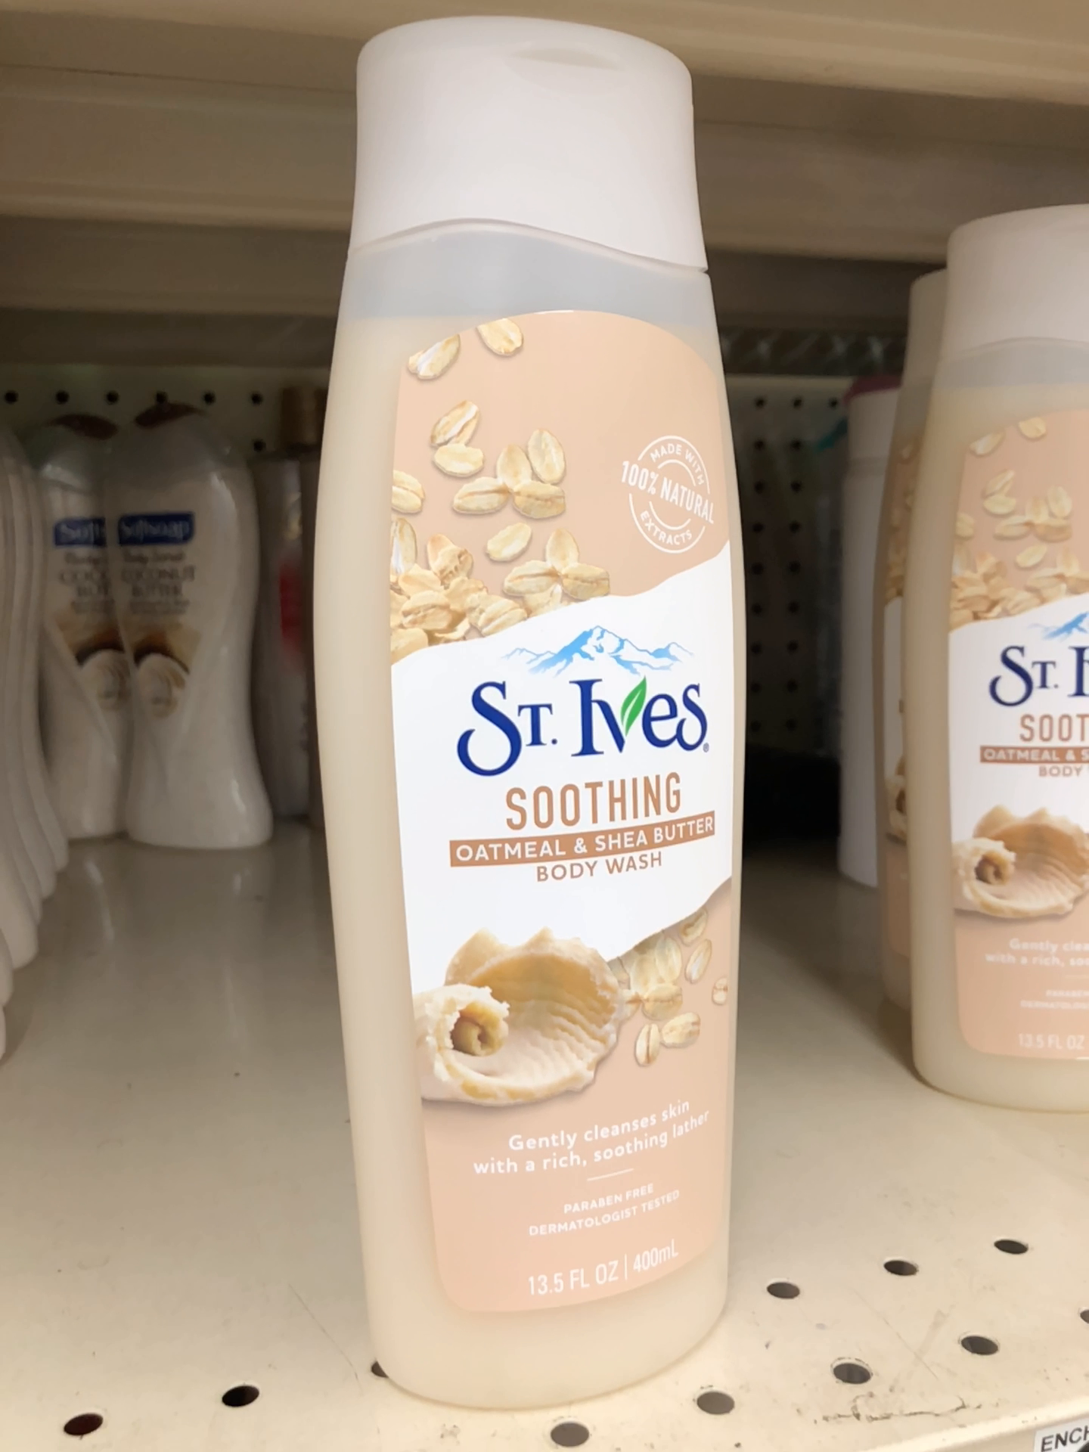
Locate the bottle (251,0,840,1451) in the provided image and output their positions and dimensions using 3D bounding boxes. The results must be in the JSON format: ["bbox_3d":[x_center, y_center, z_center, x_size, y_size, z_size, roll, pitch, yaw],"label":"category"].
[{"bbox_3d":[-0.001,-0.004,0.212,0.080,0.230,0.050,-4,10,-21],"label":"bottle"}]
